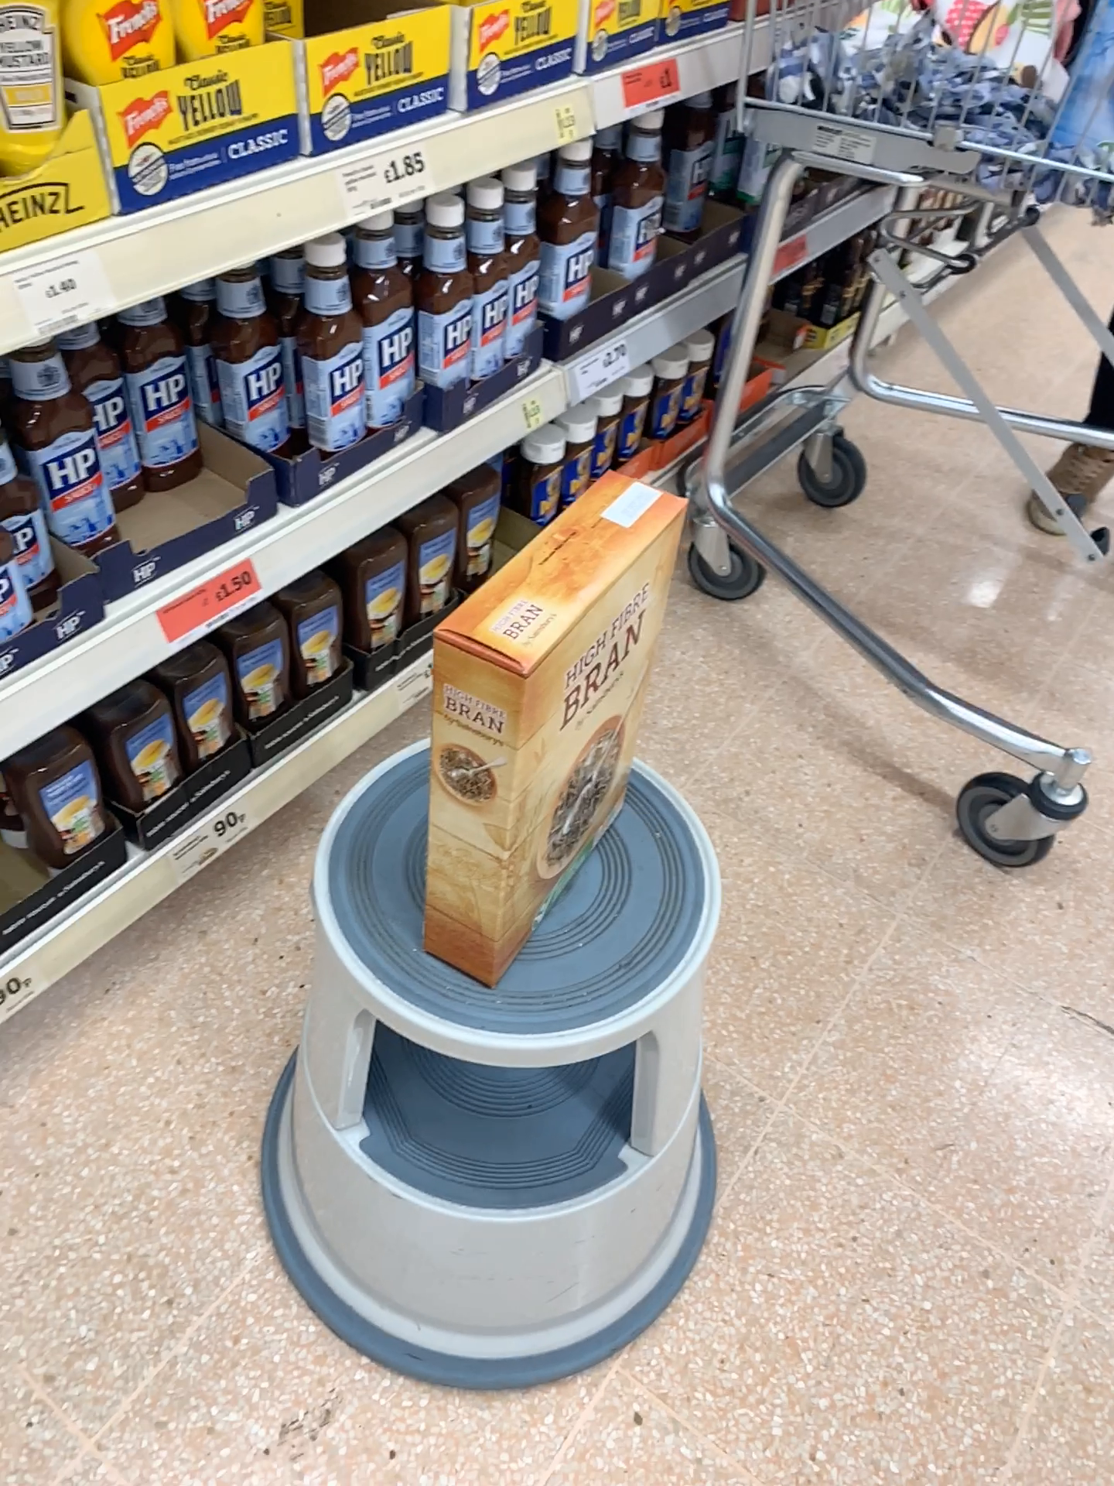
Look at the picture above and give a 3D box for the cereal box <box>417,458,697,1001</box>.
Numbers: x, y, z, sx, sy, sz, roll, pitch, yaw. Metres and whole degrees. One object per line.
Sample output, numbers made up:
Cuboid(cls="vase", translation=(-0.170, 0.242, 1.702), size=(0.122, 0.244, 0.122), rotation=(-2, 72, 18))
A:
Cuboid(cls="cereal box", translation=(-0.005, -0.003, 0.710), size=(0.060, 0.277, 0.202), rotation=(25, 47, 17))
